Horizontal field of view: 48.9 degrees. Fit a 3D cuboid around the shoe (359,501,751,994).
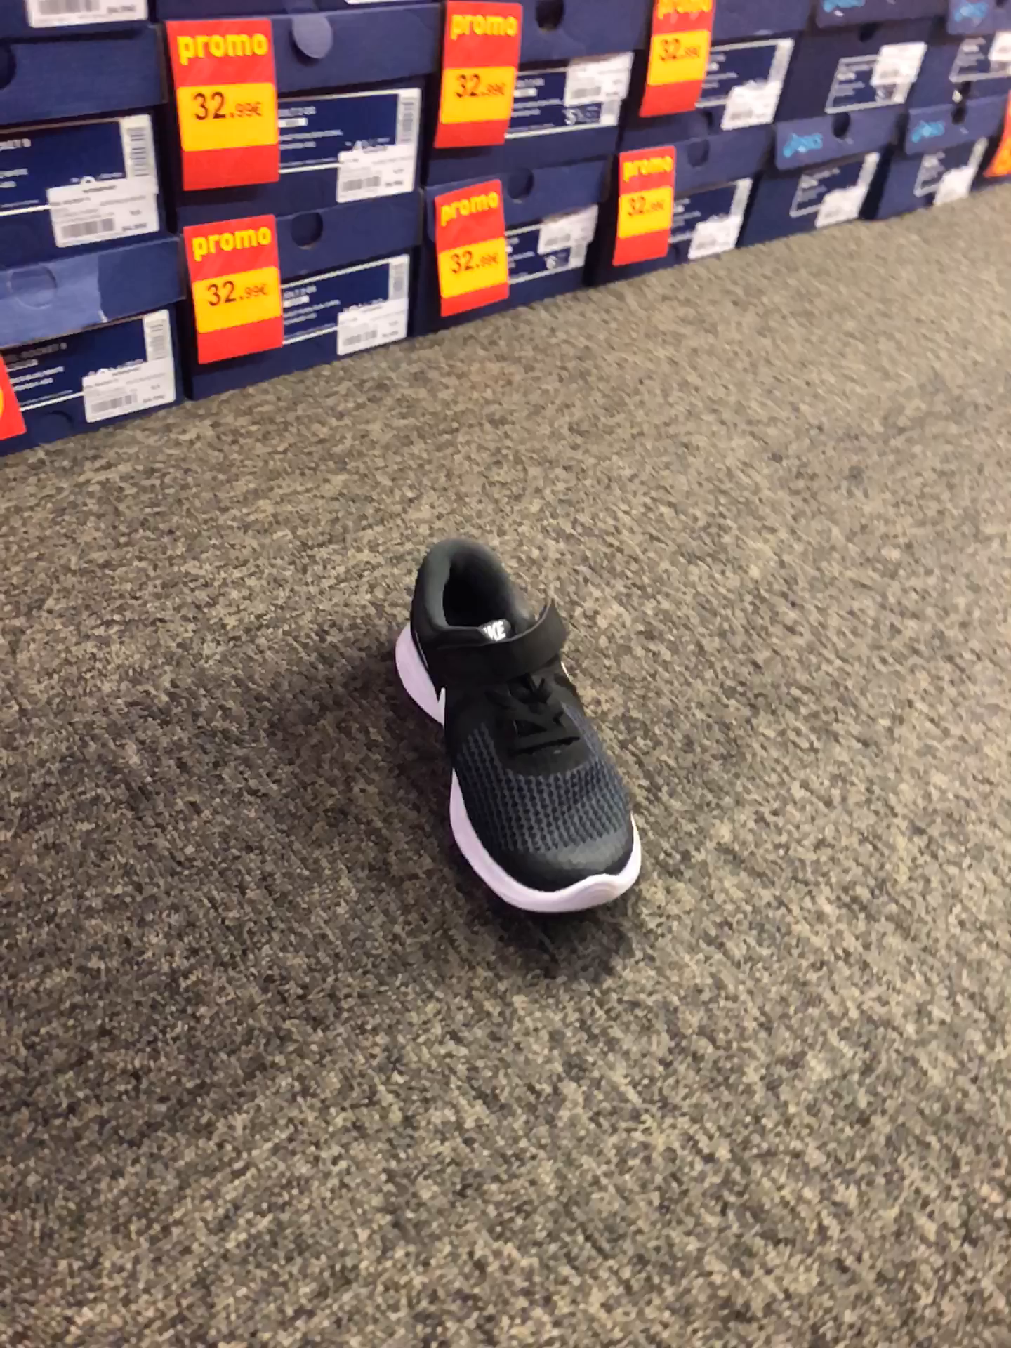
[{"bbox_3d":[0.008,0.021,0.512,0.090,0.079,0.218,-11,46,-20],"label":"shoe"}]
